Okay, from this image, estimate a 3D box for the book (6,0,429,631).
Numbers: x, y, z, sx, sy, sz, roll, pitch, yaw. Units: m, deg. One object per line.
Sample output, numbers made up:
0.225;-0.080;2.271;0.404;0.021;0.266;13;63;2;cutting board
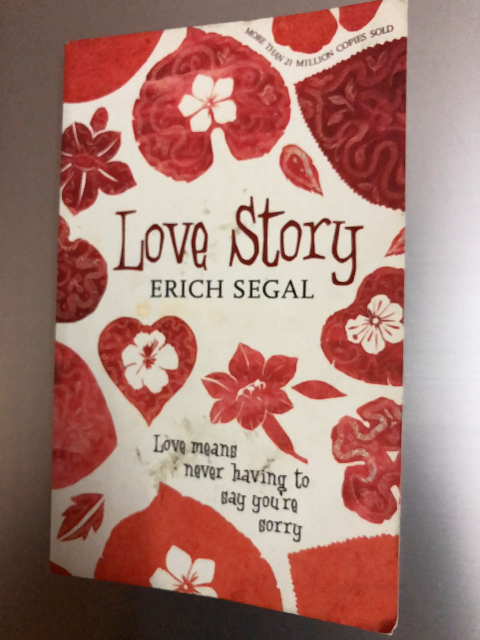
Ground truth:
-0.007;-0.011;0.171;0.120;0.030;0.180;1;88;13;book
